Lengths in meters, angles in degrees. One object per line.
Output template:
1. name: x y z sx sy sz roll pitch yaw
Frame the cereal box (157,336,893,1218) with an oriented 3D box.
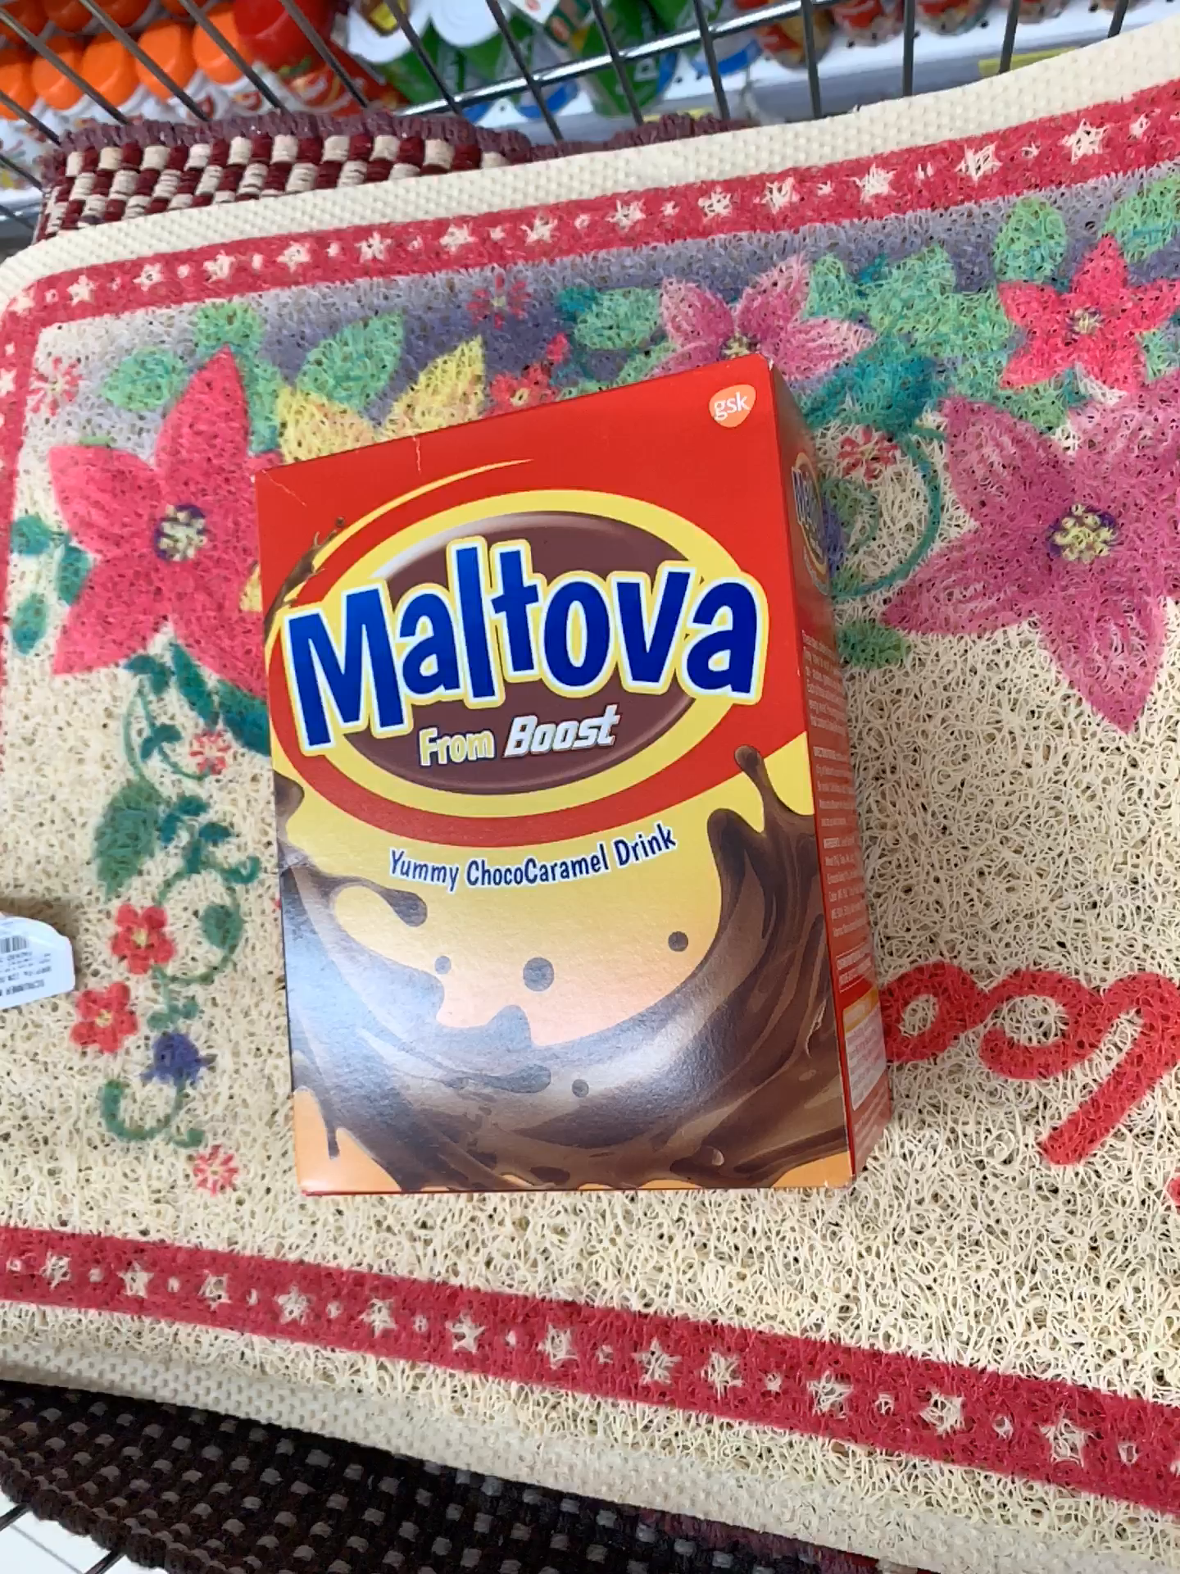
1. cereal box: -0.019 0.005 0.283 0.150 0.050 0.170 -7 84 21
